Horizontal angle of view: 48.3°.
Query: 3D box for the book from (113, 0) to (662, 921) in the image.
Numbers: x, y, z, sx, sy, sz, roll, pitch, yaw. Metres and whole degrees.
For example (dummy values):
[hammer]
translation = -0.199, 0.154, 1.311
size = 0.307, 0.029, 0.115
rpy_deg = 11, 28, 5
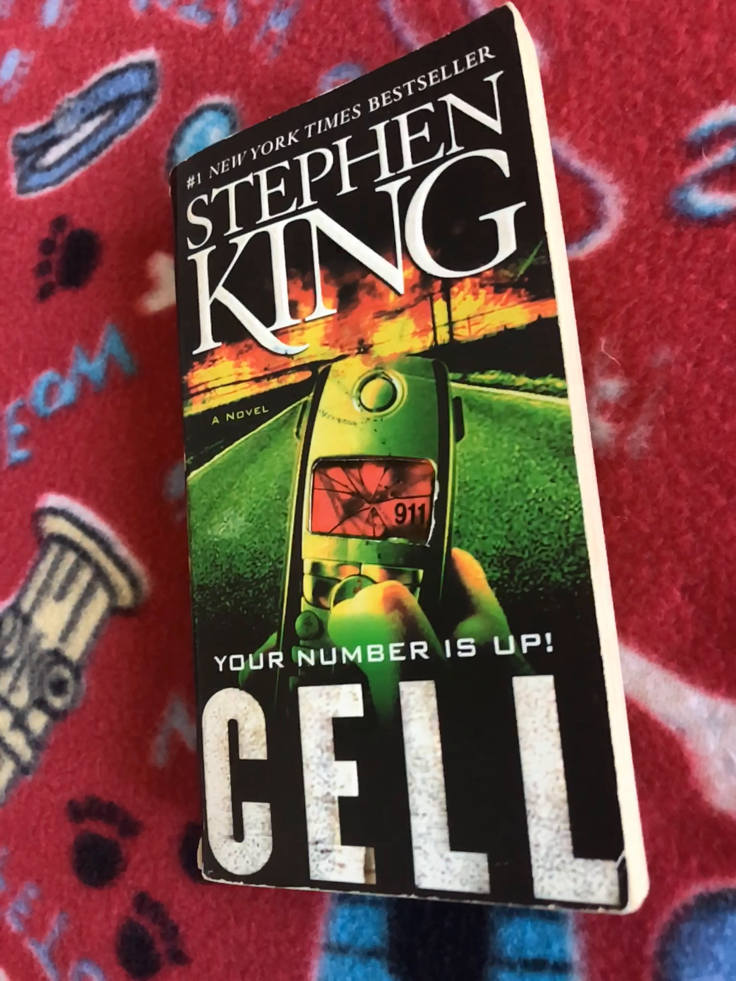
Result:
[book]
translation = -0.005, -0.009, 0.206
size = 0.120, 0.030, 0.200
rpy_deg = -9, 80, 25
